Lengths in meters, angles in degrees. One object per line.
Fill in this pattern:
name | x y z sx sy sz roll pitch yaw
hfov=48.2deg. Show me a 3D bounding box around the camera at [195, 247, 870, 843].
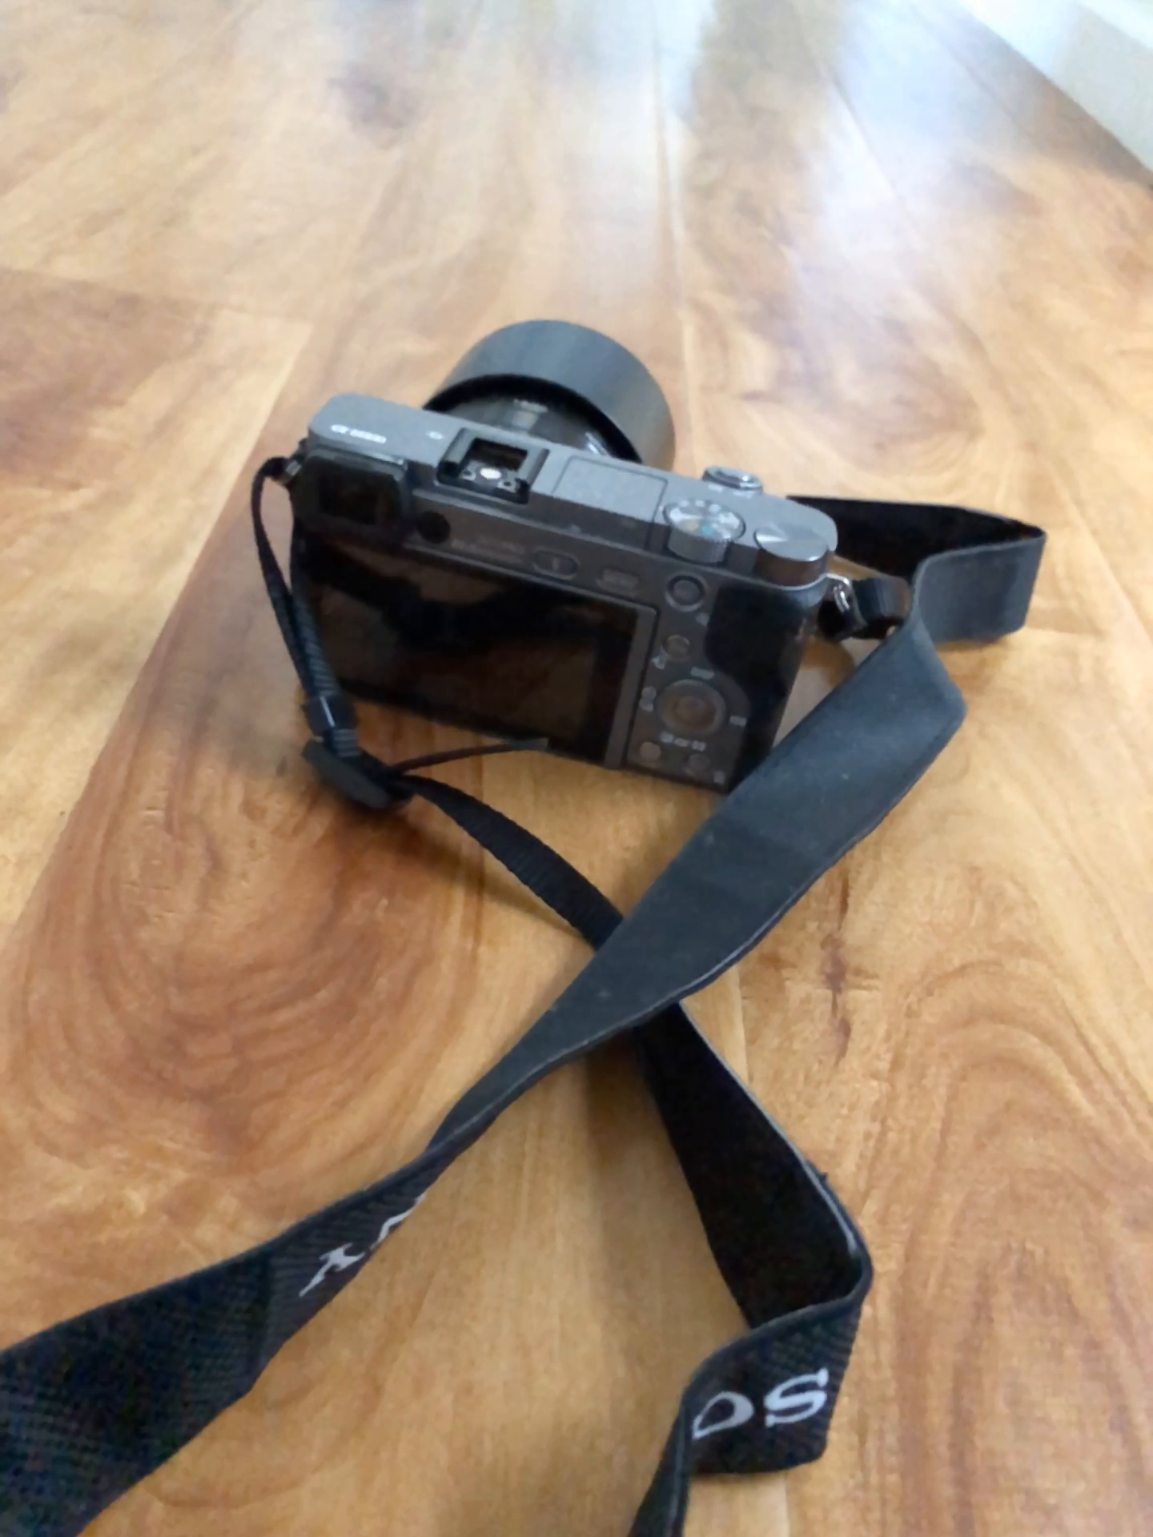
camera | -0.007 -0.063 0.332 0.140 0.080 0.111 15 39 4
